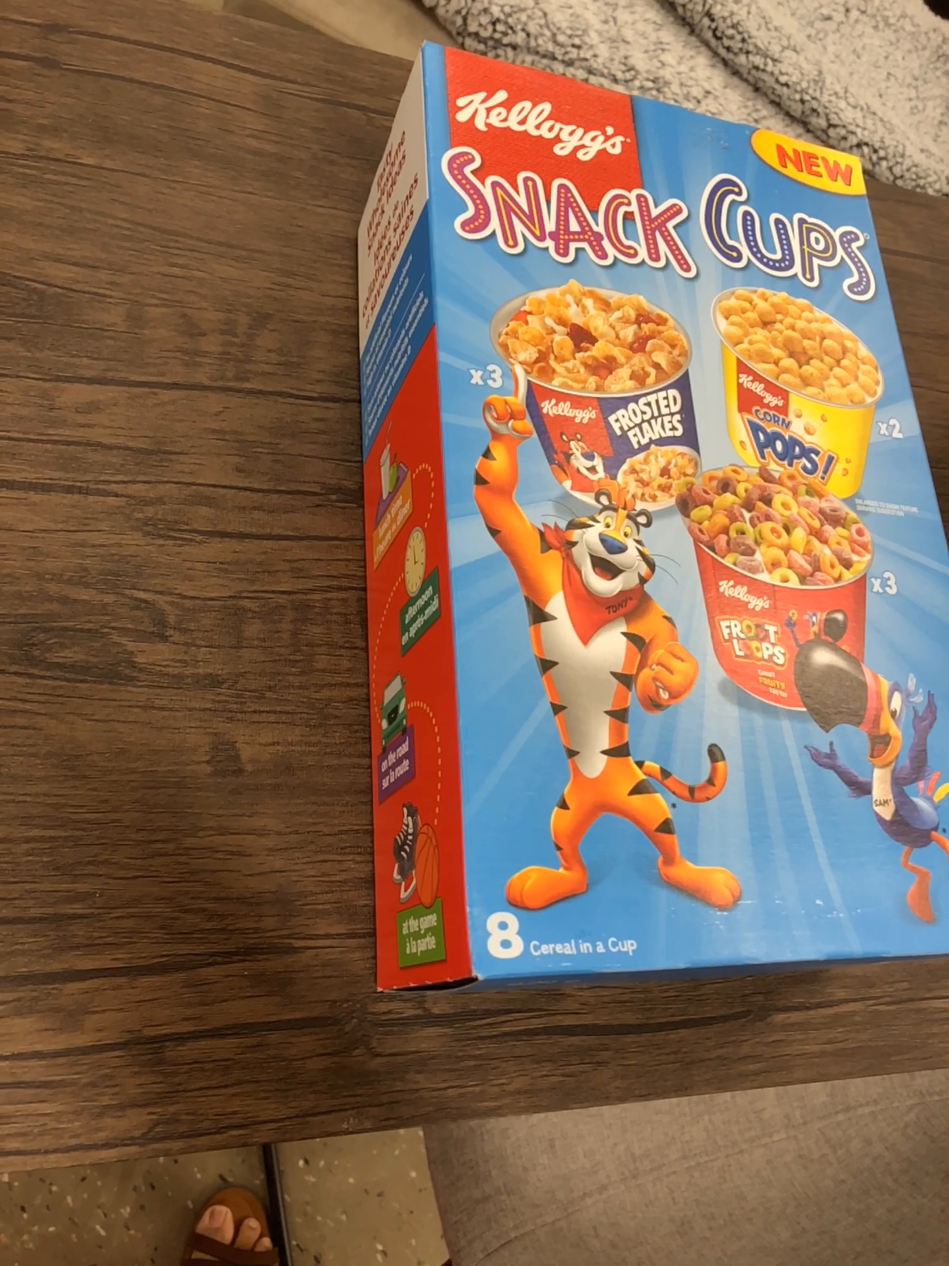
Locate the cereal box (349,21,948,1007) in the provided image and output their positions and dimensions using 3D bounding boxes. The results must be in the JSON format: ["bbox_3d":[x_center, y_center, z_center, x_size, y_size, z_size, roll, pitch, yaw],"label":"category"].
[{"bbox_3d":[0.074,-0.038,0.404,0.220,0.100,0.330,4,70,-20],"label":"cereal box"}]
